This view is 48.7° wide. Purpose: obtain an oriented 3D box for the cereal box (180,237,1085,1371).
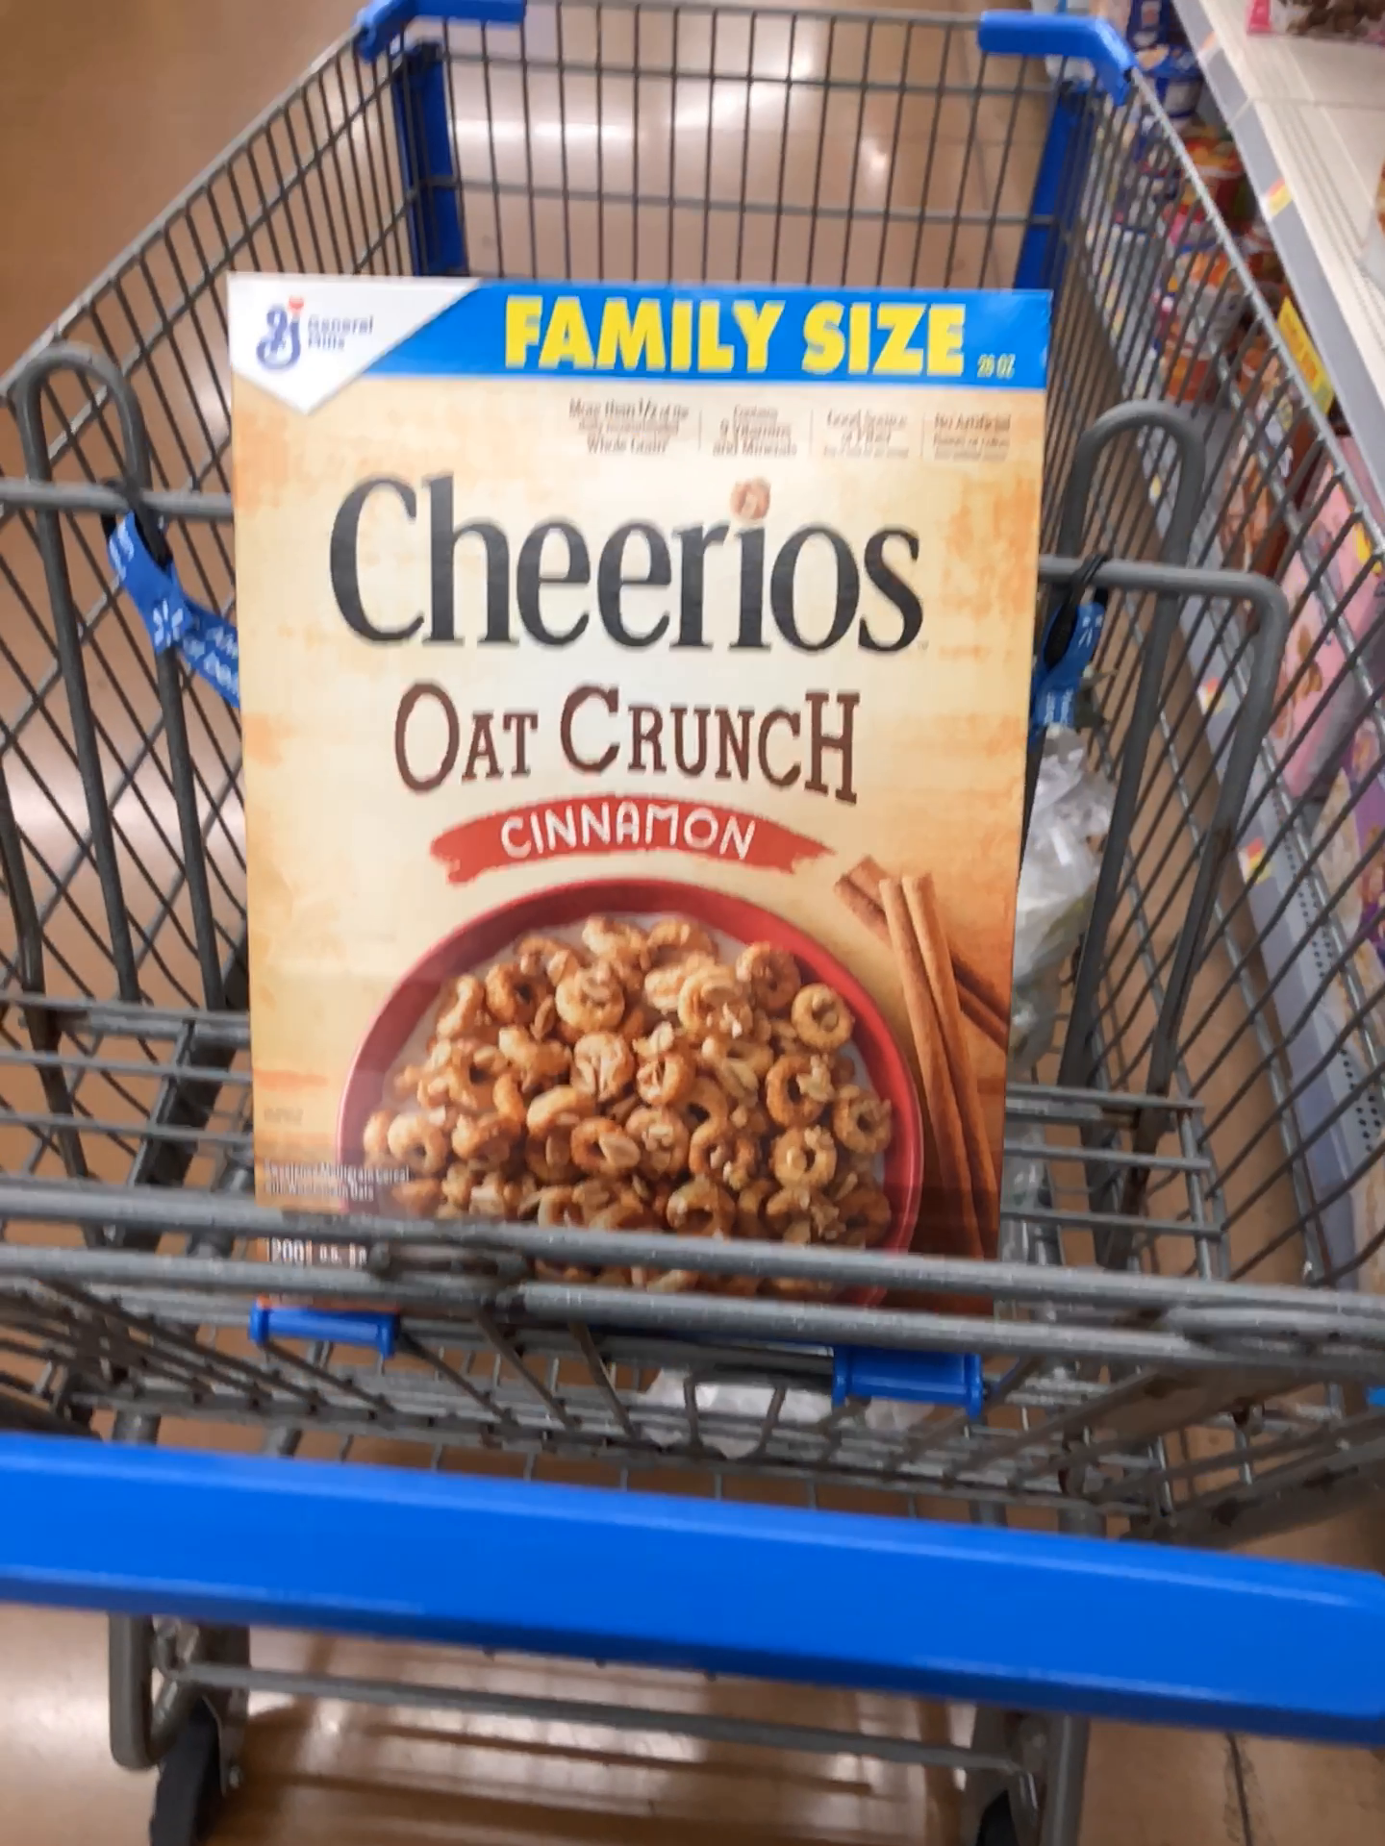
[{"bbox_3d":[-0.021,-0.031,0.492,0.250,0.330,0.080,2,11,0],"label":"cereal box"}]
